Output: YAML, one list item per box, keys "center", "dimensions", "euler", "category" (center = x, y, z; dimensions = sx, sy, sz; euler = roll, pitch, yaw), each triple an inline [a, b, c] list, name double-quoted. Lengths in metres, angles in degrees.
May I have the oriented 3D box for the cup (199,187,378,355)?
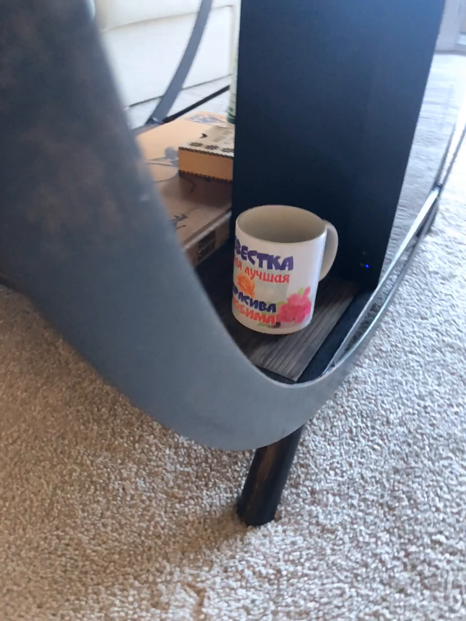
- center: [0.051, -0.045, 0.504]
  dimensions: [0.140, 0.099, 0.090]
  euler: [-22, 42, -32]
  category: "cup"
